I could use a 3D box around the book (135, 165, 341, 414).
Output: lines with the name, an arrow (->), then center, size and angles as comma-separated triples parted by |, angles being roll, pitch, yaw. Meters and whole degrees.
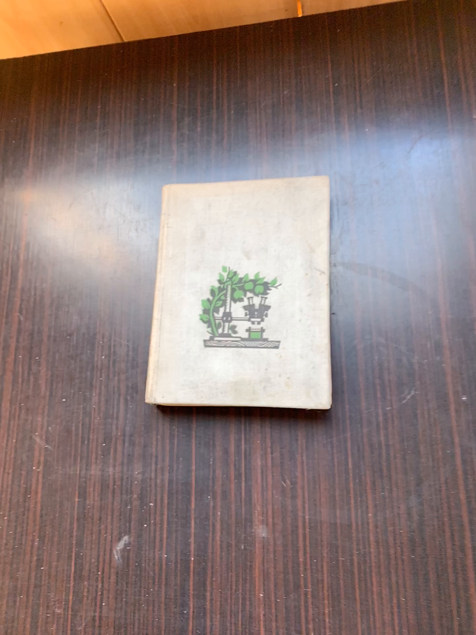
book -> 0.002, -0.019, 0.349 | 0.135, 0.028, 0.169 | -1, 77, 11
